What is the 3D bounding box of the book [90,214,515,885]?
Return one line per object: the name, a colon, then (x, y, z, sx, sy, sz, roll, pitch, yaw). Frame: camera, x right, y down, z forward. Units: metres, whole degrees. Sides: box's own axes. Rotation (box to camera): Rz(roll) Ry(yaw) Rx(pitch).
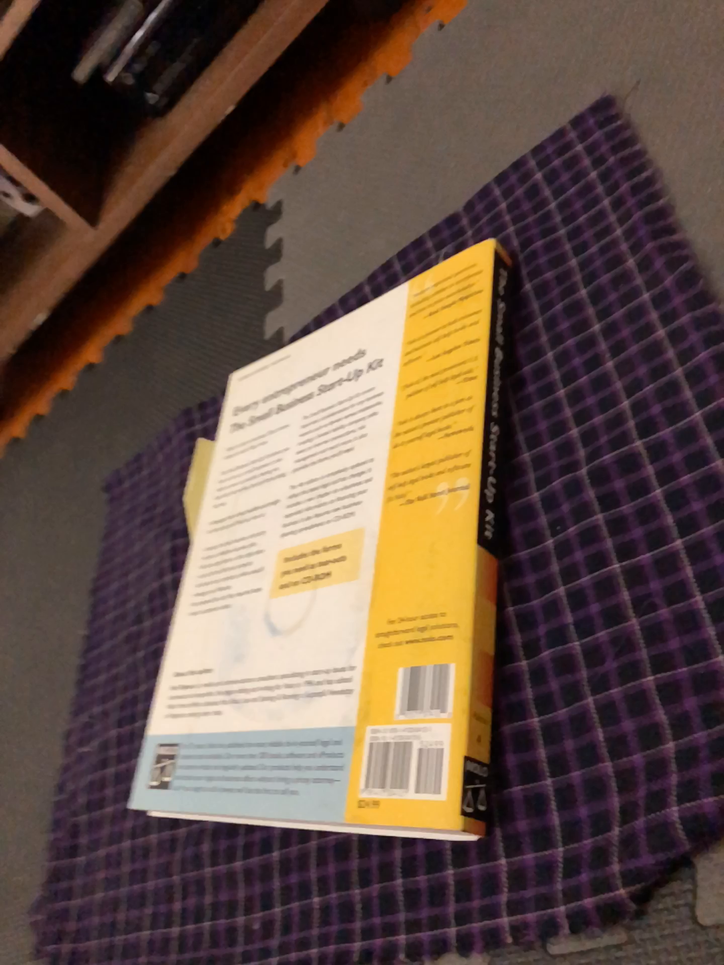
book: (-0.031, 0.030, 0.431, 0.231, 0.030, 0.311, -17, 53, 41)
